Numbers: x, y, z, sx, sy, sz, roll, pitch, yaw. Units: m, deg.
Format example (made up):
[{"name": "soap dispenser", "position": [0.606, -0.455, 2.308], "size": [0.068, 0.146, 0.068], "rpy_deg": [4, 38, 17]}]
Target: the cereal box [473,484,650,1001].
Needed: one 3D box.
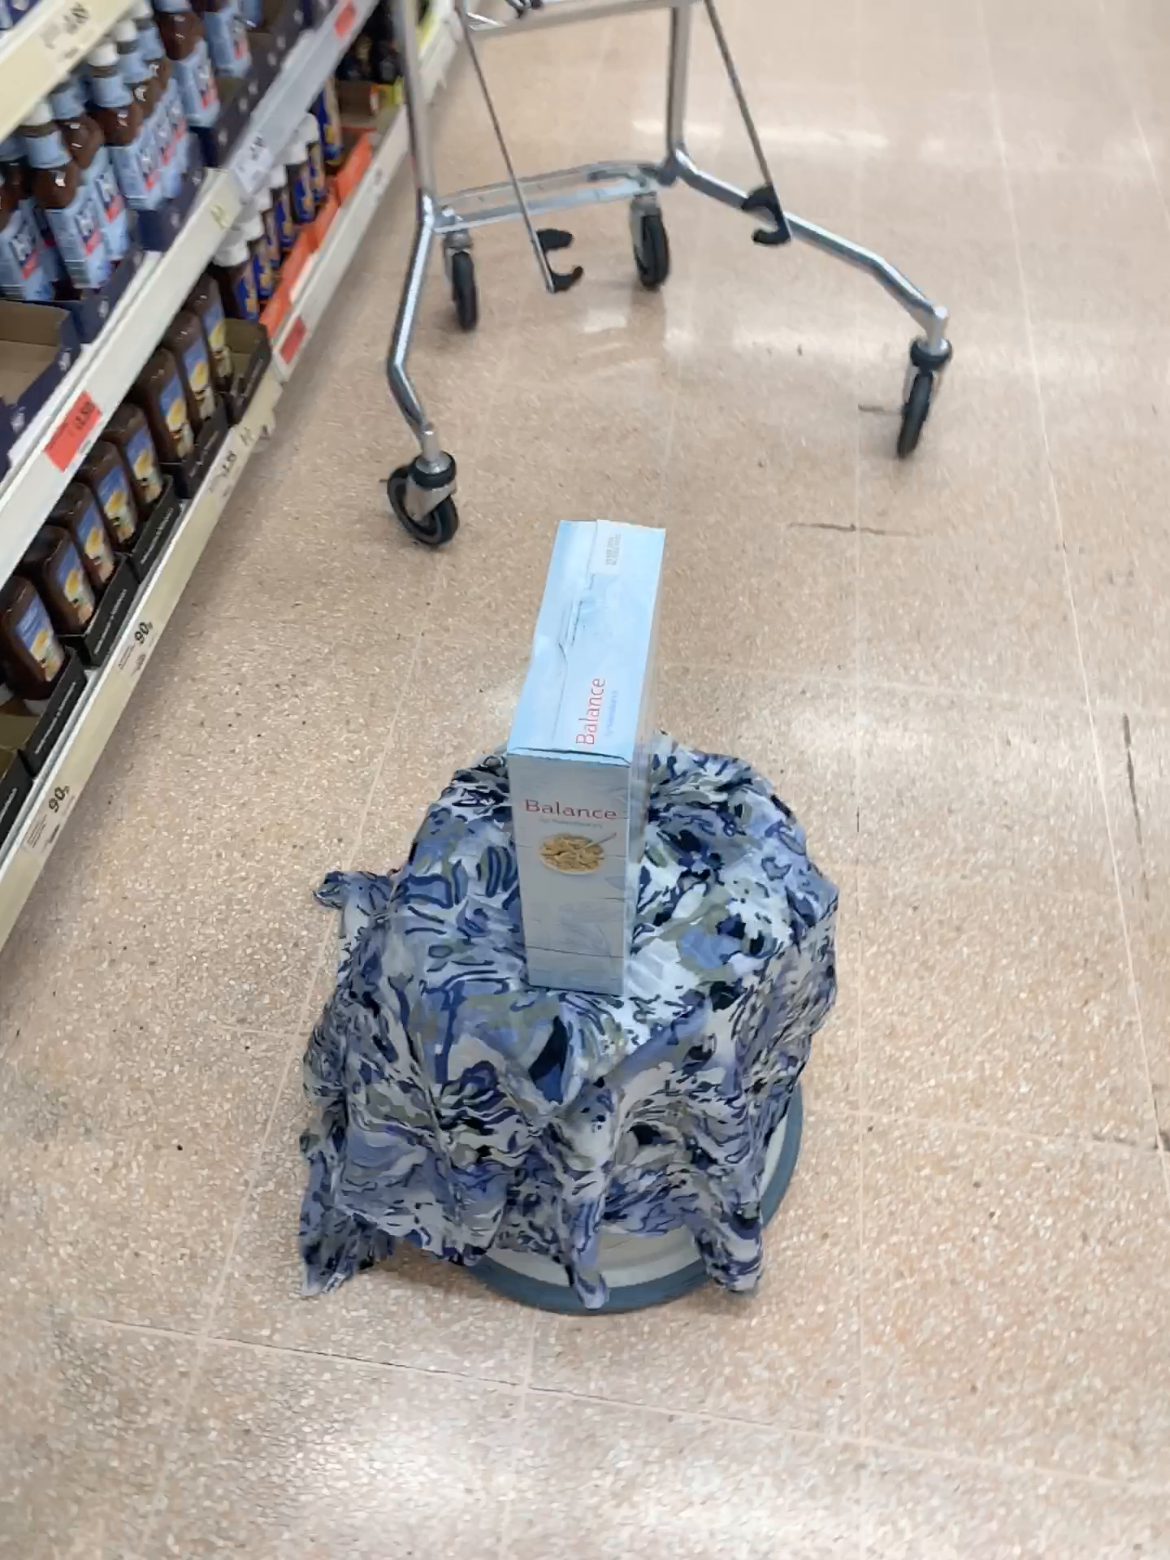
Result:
[{"name": "cereal box", "position": [-0.008, -0.016, 0.797], "size": [0.070, 0.278, 0.212], "rpy_deg": [6, 52, 6]}]
